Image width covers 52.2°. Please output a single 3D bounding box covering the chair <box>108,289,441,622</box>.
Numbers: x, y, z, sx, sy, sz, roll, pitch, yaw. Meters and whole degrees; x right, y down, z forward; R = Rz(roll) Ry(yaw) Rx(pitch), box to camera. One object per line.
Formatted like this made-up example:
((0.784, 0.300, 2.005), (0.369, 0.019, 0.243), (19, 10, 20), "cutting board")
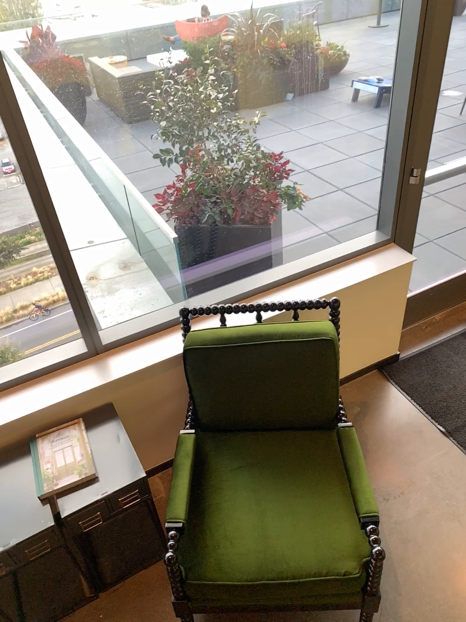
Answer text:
((0.146, 0.591, 1.901), (0.870, 0.924, 0.946), (-3, 39, 4), "chair")
